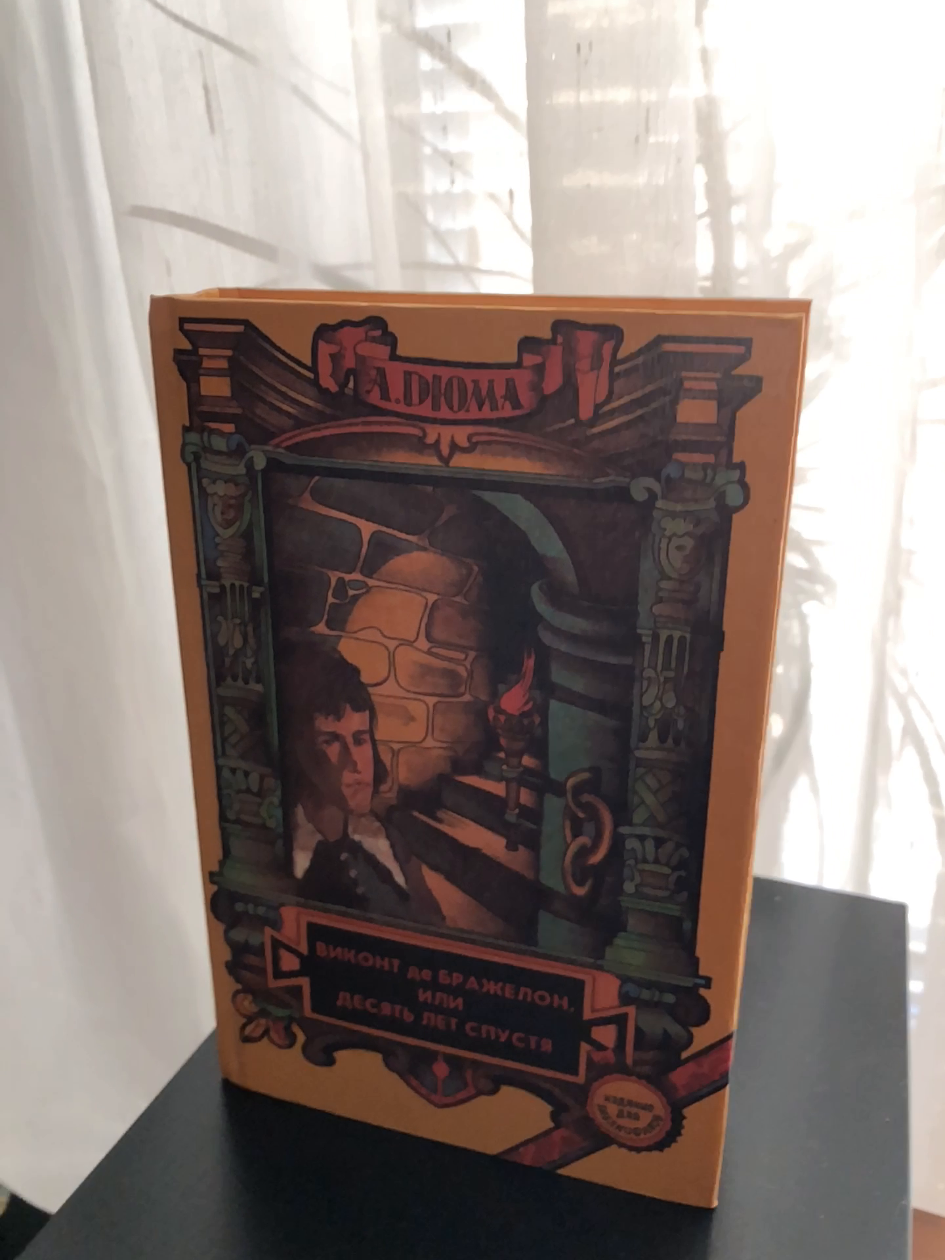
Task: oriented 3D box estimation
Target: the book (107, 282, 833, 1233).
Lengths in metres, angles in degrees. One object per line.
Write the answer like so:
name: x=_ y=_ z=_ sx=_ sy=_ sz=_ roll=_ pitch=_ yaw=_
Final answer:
book: x=0.001 y=0.028 z=0.254 sx=0.142 sy=0.209 sz=0.045 roll=5 pitch=21 yaw=18
